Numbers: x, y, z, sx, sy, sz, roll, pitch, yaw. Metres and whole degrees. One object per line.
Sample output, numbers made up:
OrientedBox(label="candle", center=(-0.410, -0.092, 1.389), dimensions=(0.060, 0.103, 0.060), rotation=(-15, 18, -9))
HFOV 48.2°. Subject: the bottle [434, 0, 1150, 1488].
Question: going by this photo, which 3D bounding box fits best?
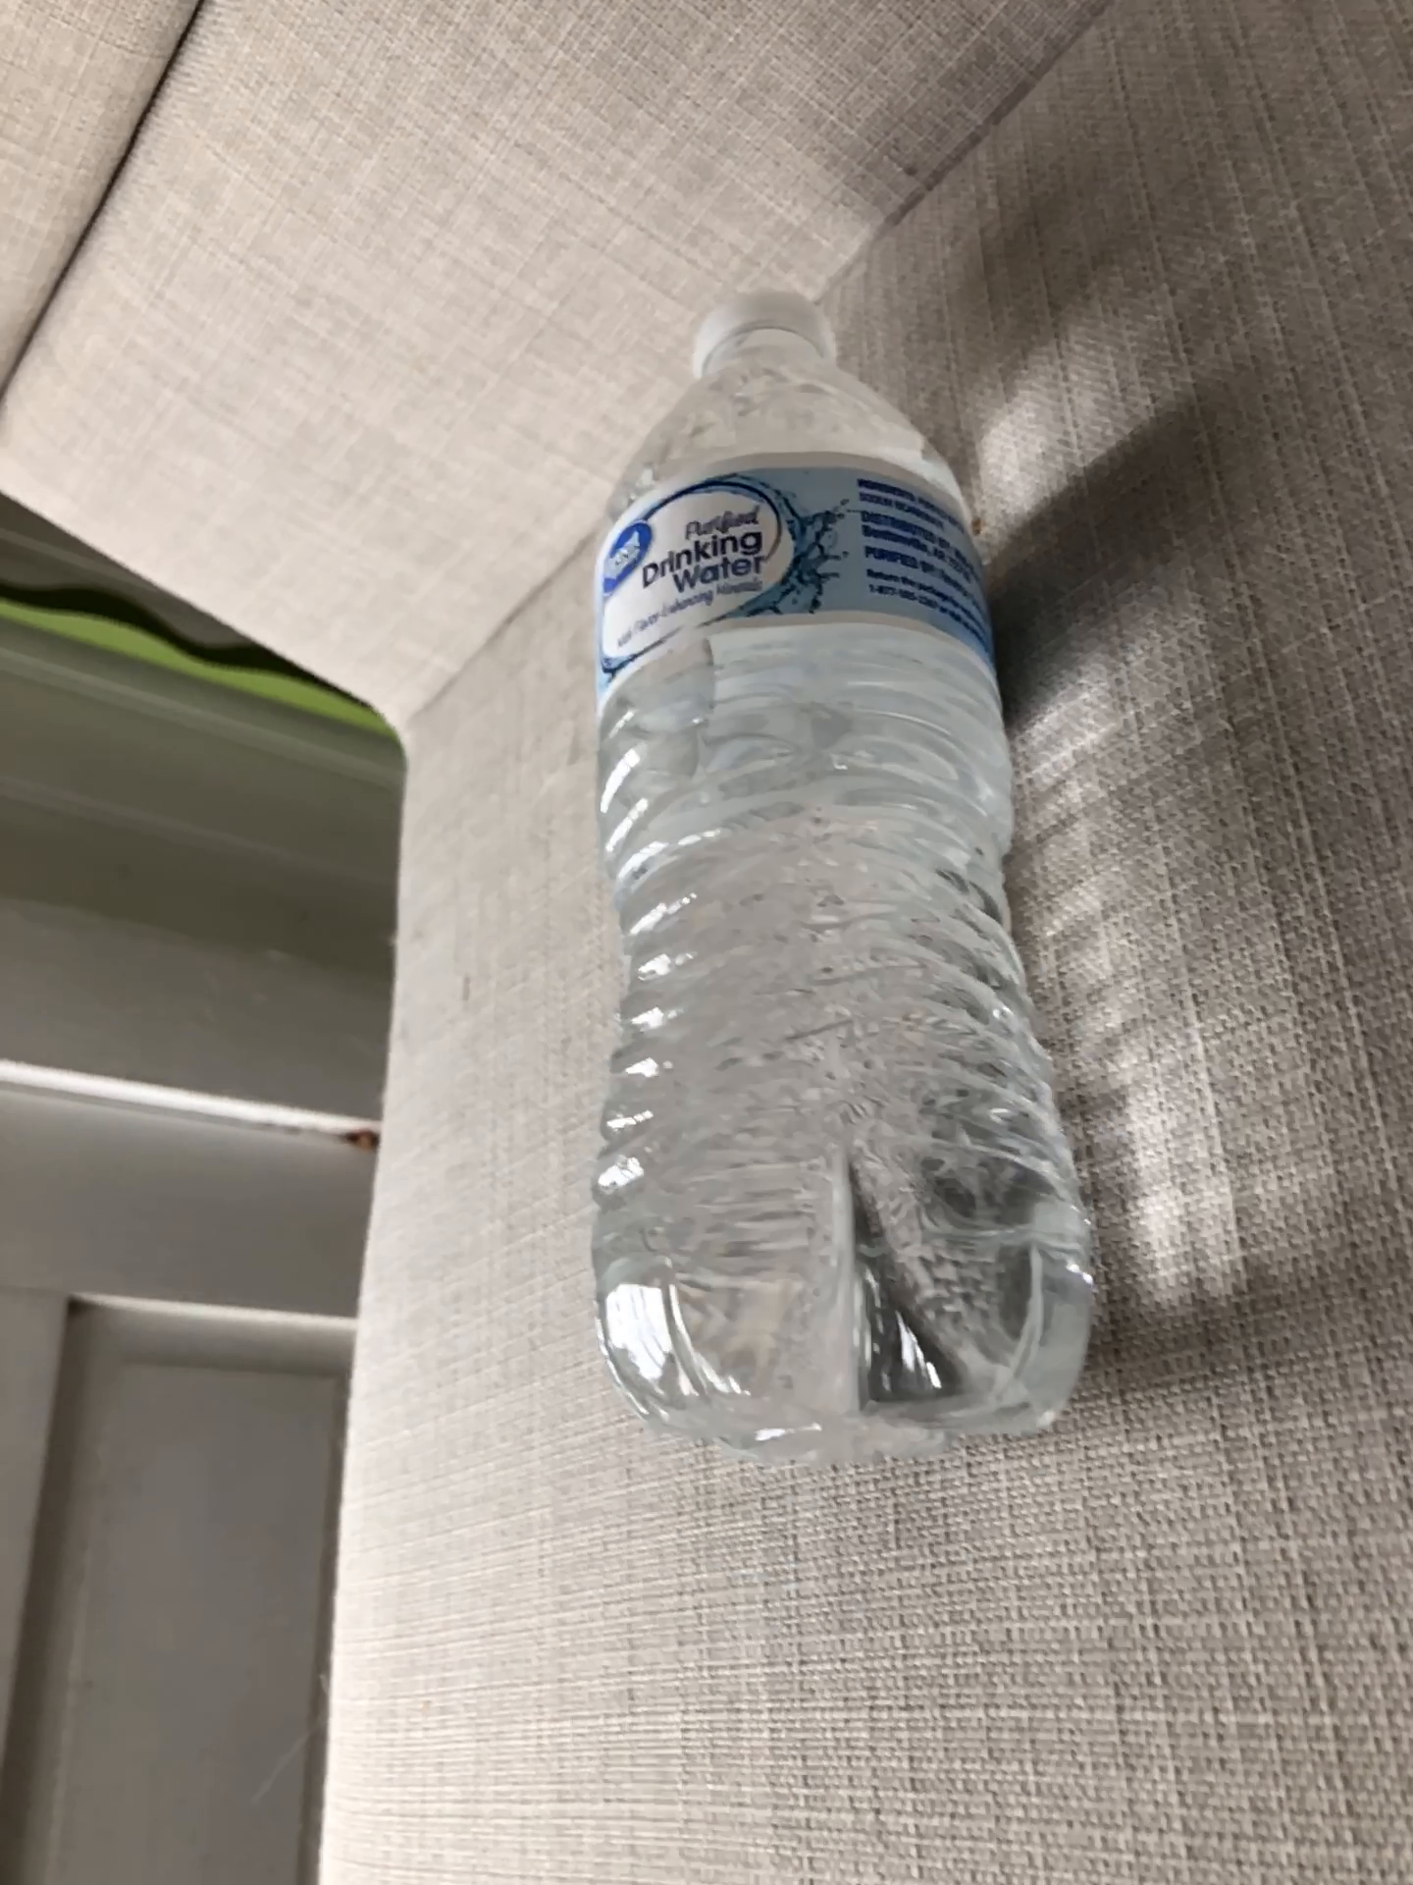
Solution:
OrientedBox(label="bottle", center=(0.011, -0.041, 0.258), dimensions=(0.070, 0.079, 0.231), rotation=(-13, 60, 17))
